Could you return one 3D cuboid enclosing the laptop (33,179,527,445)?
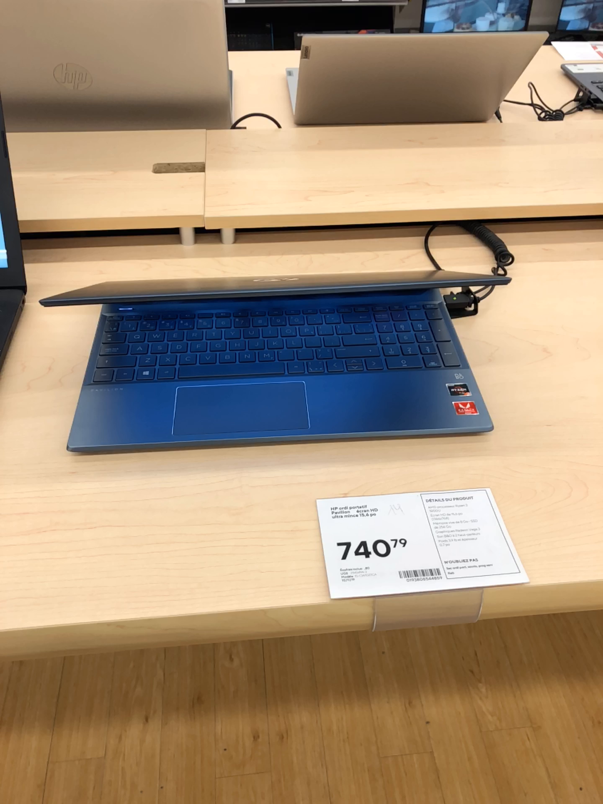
[{"bbox_3d":[-0.019,-0.088,0.584,0.349,0.119,0.210,-3,44,-4],"label":"laptop"}]
